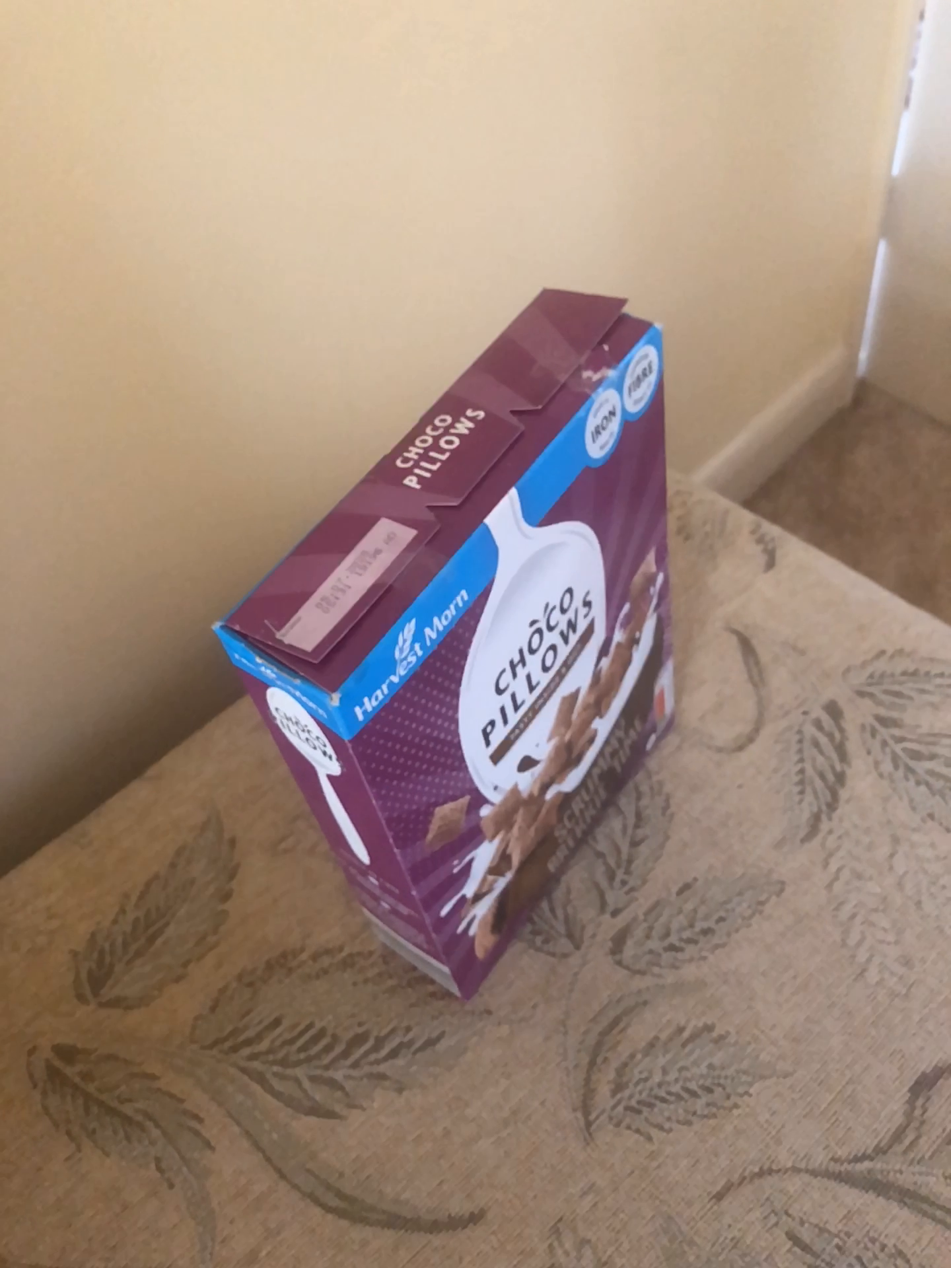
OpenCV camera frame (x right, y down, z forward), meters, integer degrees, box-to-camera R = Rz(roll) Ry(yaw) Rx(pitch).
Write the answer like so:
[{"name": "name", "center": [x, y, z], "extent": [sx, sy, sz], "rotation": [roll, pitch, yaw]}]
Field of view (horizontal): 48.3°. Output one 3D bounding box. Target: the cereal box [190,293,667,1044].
[{"name": "cereal box", "center": [0.009, 0.032, 0.468], "extent": [0.060, 0.278, 0.201], "rotation": [24, 59, 25]}]
